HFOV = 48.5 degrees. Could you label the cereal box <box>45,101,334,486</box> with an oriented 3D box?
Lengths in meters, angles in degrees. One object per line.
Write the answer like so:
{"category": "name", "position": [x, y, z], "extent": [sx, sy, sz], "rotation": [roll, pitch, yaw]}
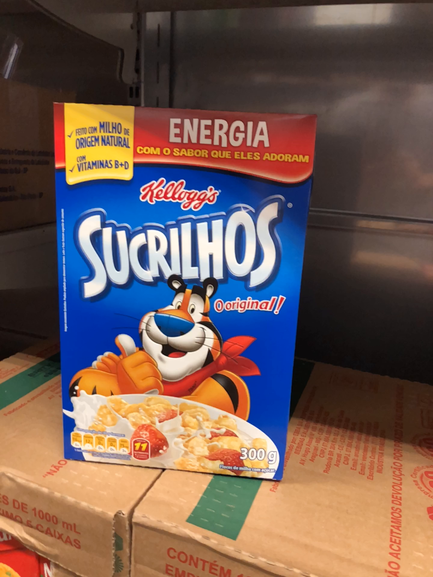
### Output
{"category": "cereal box", "position": [-0.020, 0.005, 0.341], "extent": [0.170, 0.249, 0.060], "rotation": [4, 15, 5]}
